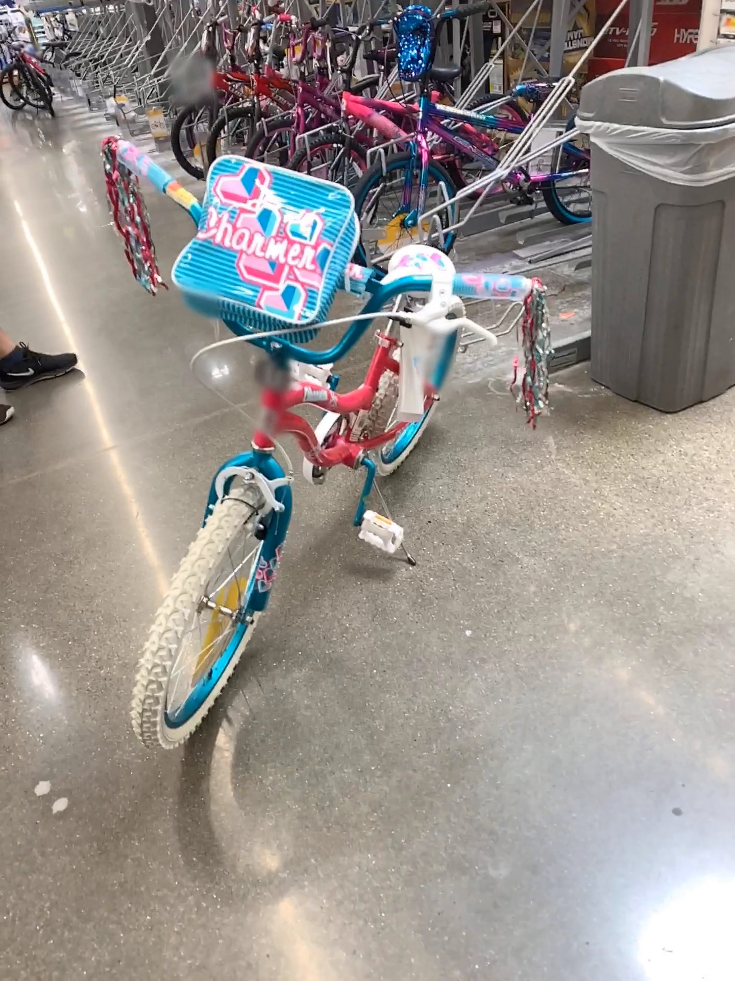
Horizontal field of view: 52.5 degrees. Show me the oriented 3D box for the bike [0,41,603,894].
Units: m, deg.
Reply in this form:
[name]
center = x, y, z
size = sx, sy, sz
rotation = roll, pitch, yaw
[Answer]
[bike]
center = -0.062, -0.161, 1.459
size = 0.653, 0.929, 1.266
rotation = 10, 41, 25
